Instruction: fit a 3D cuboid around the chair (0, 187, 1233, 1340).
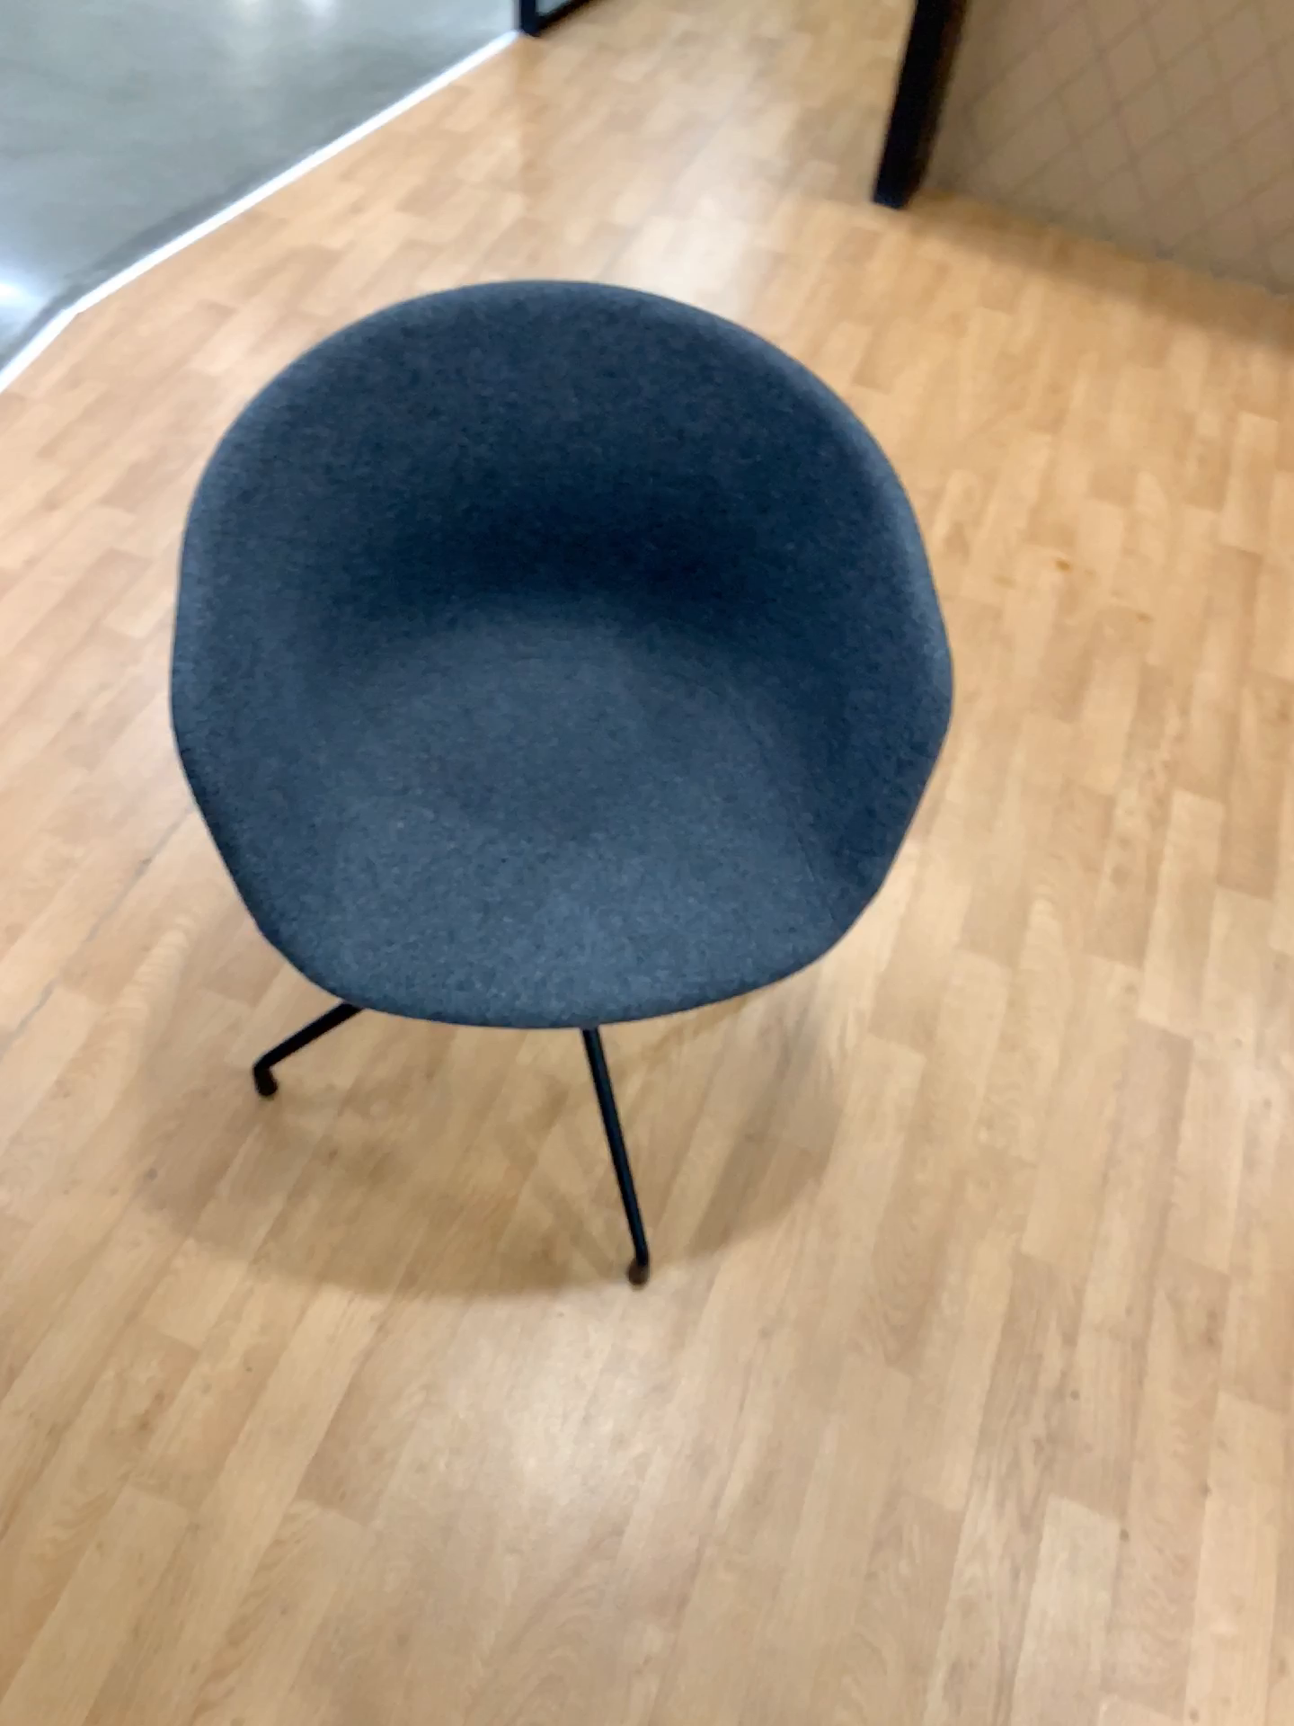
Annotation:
[{"bbox_3d":[-0.082,-0.074,1.206,0.710,0.685,0.735,-2,54,-7],"label":"chair"}]
